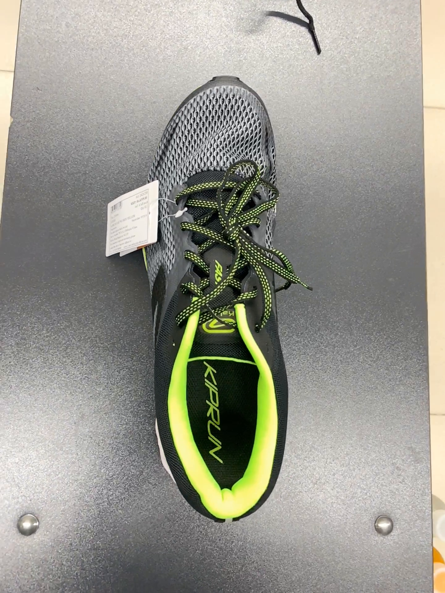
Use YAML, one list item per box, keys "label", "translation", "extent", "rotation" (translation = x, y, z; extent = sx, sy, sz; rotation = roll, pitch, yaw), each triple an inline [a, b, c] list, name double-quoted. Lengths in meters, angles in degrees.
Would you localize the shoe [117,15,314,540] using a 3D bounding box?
- label: "shoe"
  translation: [-0.008, -0.015, 0.326]
  extent: [0.110, 0.110, 0.310]
  rotation: [0, 84, -5]
